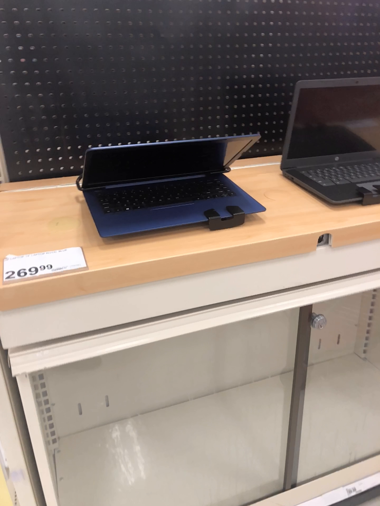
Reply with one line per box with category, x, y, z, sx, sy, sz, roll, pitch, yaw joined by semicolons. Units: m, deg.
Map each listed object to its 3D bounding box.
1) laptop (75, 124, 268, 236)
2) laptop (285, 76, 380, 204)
laptop;-0.041;-0.158;0.818;0.320;0.111;0.202;-11;31;-18
laptop;0.418;-0.278;0.960;0.330;0.206;0.224;-9;28;-16
